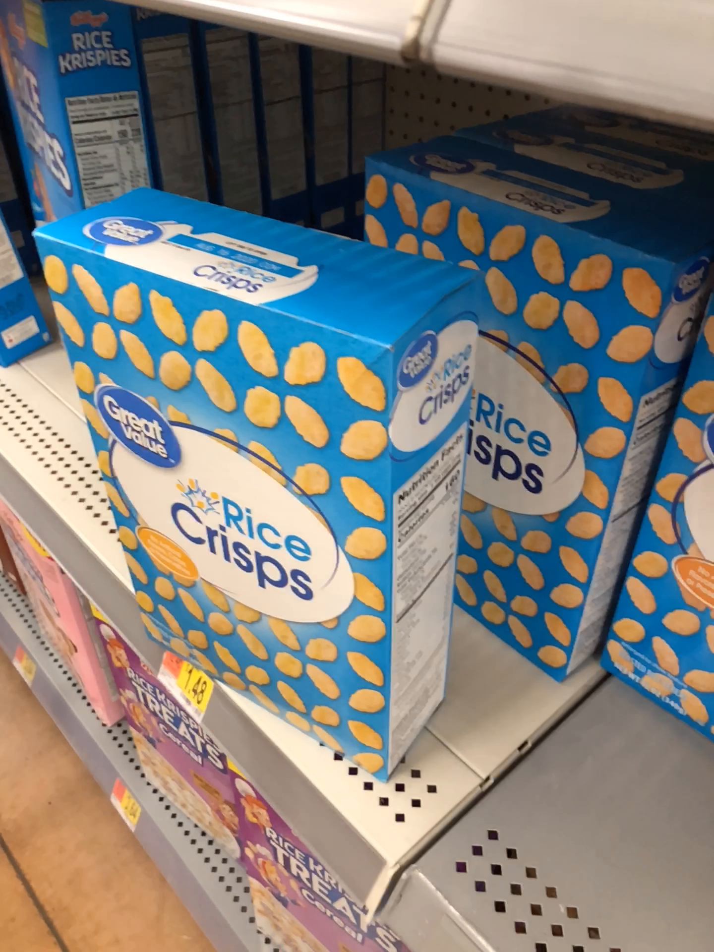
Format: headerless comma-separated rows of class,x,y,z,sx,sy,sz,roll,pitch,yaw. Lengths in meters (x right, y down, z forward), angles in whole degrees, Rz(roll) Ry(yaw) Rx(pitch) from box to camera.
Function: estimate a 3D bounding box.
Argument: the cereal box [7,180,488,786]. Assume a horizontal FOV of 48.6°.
cereal box,-0.048,0.010,0.410,0.200,0.269,0.070,22,45,27
